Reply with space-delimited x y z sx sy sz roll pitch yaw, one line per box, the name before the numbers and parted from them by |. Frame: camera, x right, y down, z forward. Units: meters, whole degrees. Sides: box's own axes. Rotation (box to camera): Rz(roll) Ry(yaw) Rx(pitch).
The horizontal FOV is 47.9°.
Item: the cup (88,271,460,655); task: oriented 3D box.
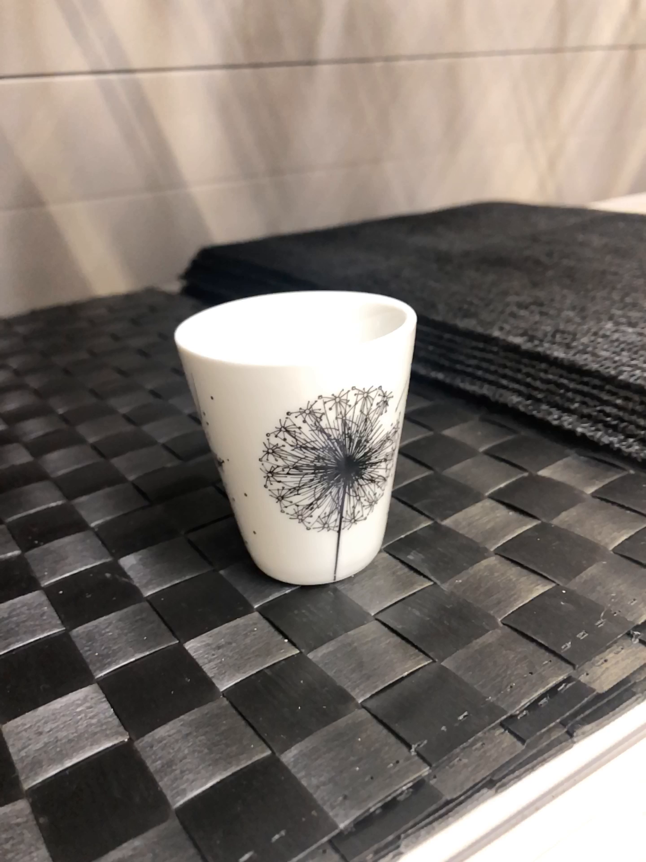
cup | -0.007 0.000 0.191 0.056 0.060 0.081 15 30 25
